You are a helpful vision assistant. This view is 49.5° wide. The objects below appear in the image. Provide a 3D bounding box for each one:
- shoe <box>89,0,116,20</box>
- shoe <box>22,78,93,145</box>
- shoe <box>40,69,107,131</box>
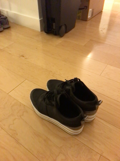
[{"bbox_3d":[2.279,-4.036,7.205,1.000,0.993,1.007,-4,43,-5],"label":"shoe"},{"bbox_3d":[-0.015,0.107,0.506,0.250,0.099,0.101,28,49,27],"label":"shoe"},{"bbox_3d":[0.044,0.069,0.552,0.251,0.099,0.111,32,51,30],"label":"shoe"}]
